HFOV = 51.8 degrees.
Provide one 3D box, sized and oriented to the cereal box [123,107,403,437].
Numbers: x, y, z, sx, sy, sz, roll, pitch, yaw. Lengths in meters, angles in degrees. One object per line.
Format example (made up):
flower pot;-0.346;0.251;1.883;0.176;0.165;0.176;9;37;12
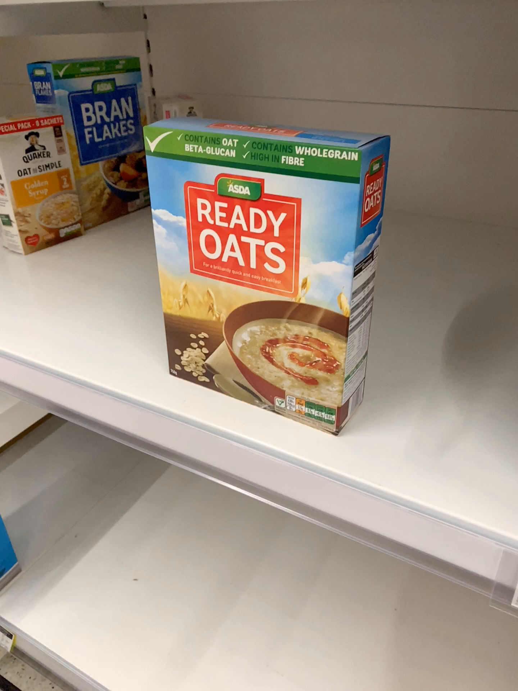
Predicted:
cereal box;0.000;-0.074;0.504;0.220;0.258;0.081;16;35;27
